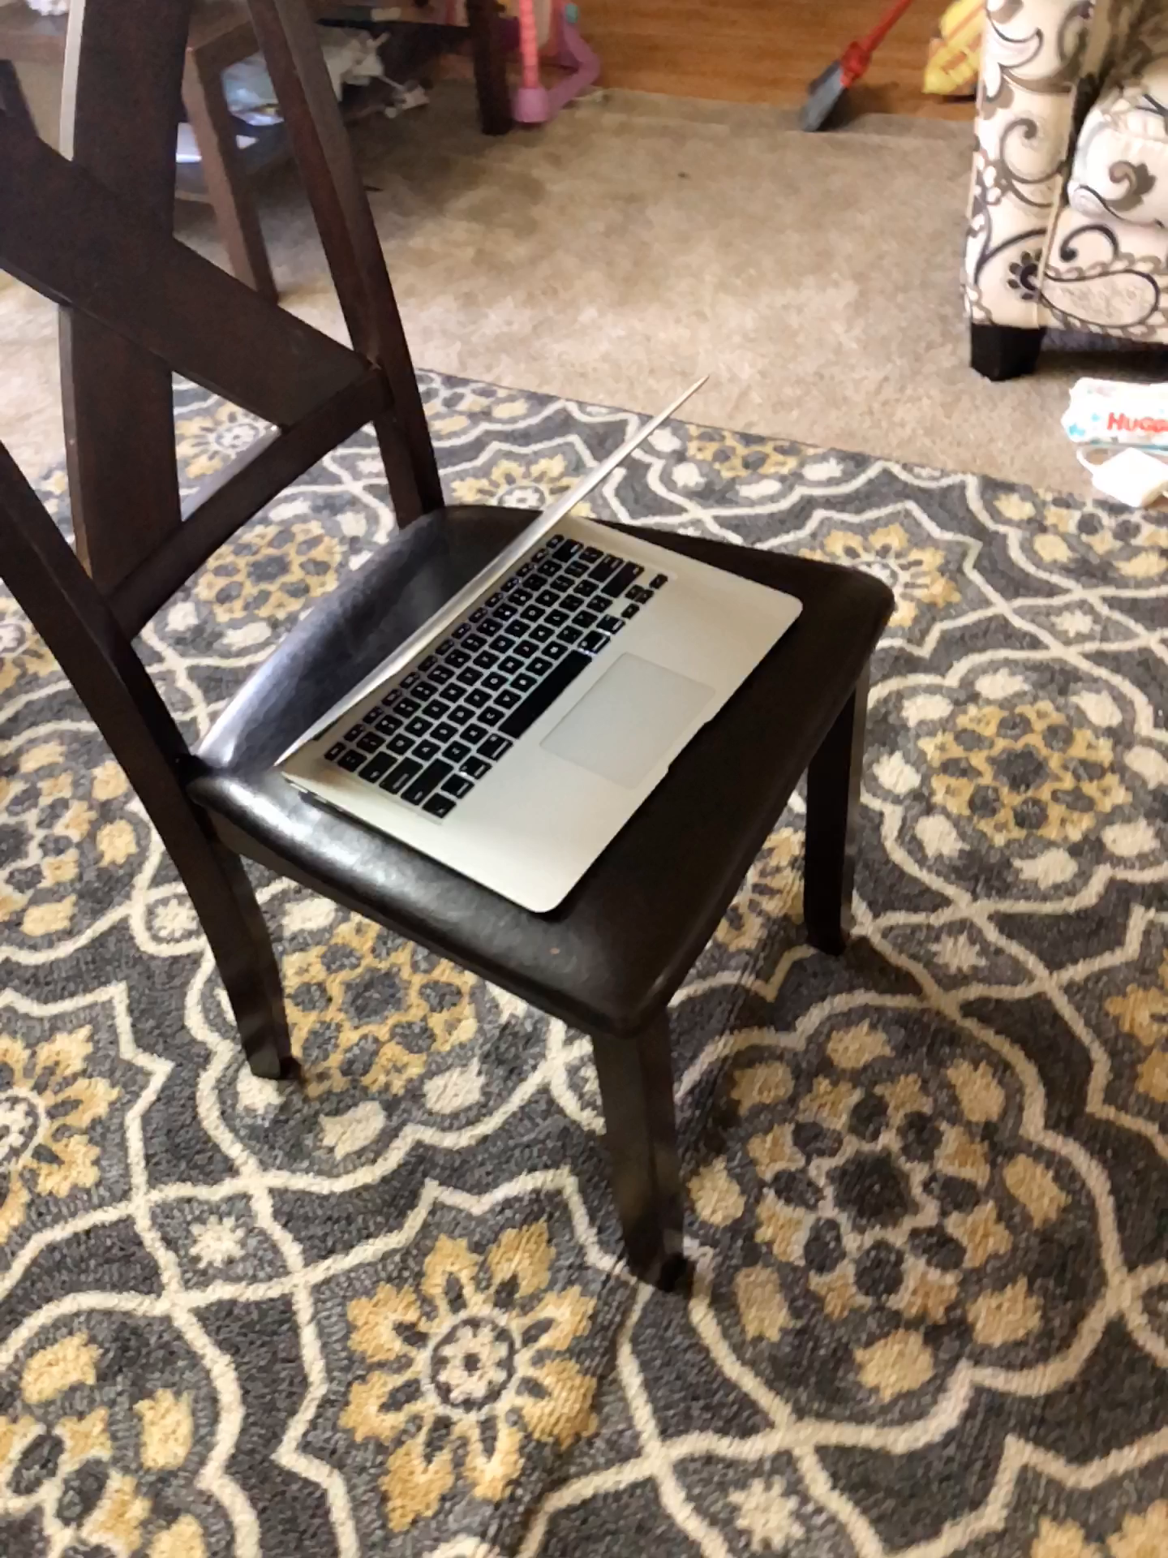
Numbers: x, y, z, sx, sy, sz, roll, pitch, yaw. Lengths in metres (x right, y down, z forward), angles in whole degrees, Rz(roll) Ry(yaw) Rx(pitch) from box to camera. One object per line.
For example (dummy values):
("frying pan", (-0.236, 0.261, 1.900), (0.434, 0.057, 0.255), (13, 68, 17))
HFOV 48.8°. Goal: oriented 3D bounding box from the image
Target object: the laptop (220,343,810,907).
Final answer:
("laptop", (-0.027, -0.114, 0.820), (0.216, 0.154, 0.304), (24, 54, 27))
